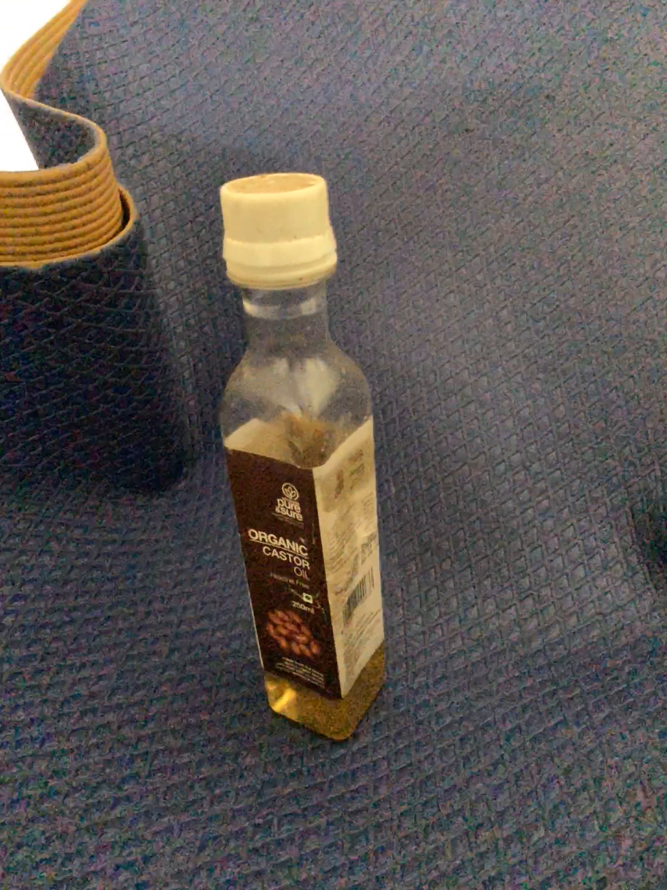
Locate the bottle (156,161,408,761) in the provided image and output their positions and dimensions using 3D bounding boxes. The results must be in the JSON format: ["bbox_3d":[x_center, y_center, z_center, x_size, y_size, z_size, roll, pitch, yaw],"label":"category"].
[{"bbox_3d":[-0.009,0.013,0.238,0.050,0.198,0.050,-2,28,1],"label":"bottle"}]
